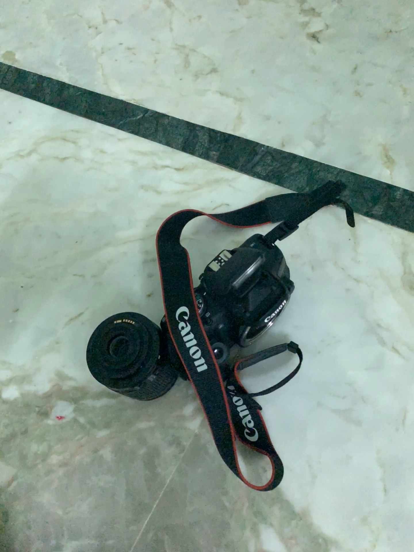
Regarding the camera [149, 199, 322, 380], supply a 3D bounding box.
[{"bbox_3d":[0.028,0.014,0.369,0.112,0.078,0.082,-44,64,-10],"label":"camera"}]
